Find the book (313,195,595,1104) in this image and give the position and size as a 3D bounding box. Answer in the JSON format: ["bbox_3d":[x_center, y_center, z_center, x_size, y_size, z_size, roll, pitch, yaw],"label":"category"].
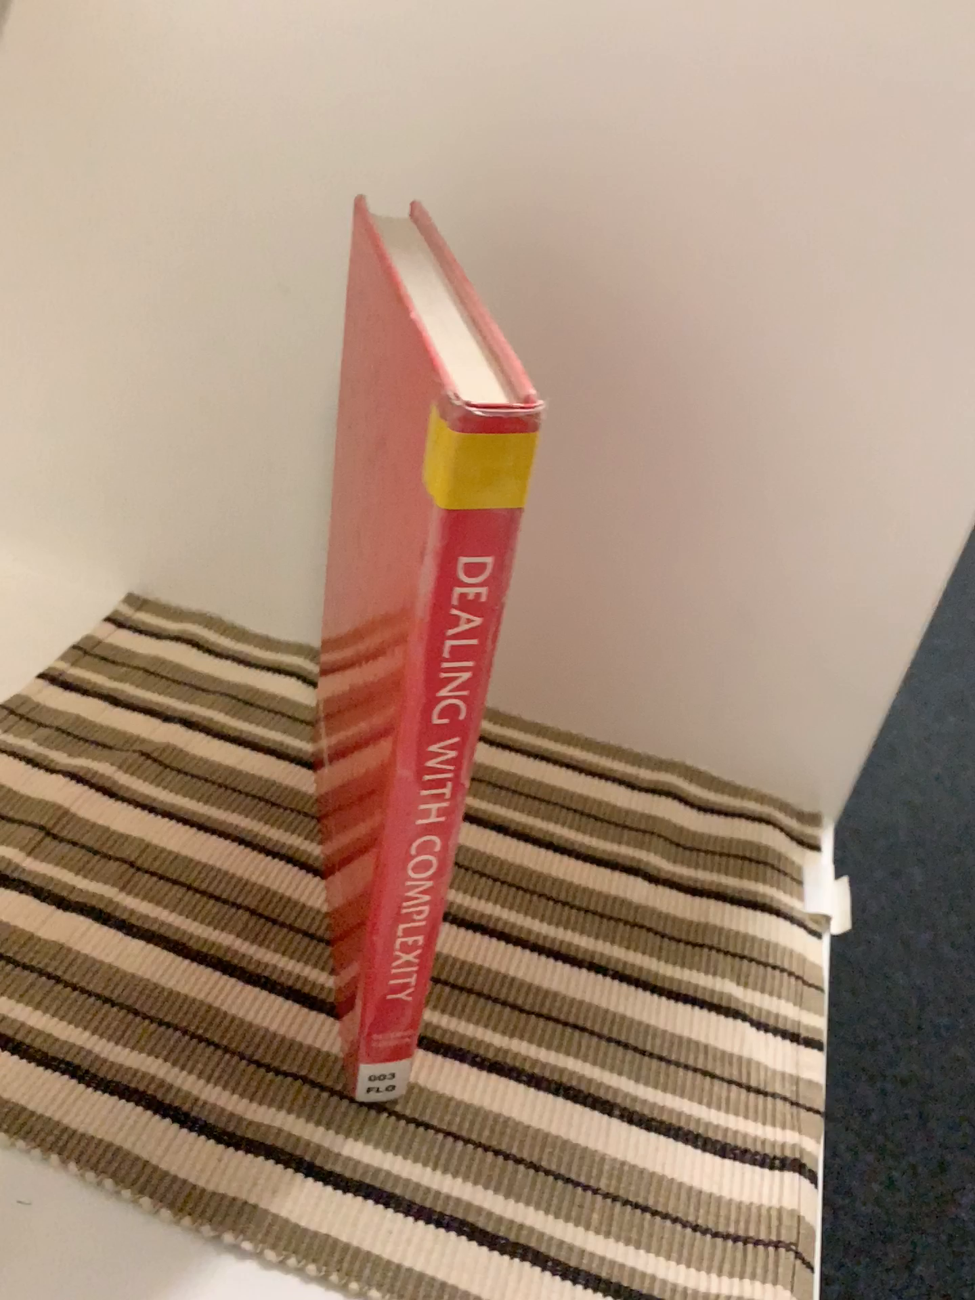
[{"bbox_3d":[-0.032,-0.005,0.361,0.030,0.250,0.202,1,35,-15],"label":"book"}]
